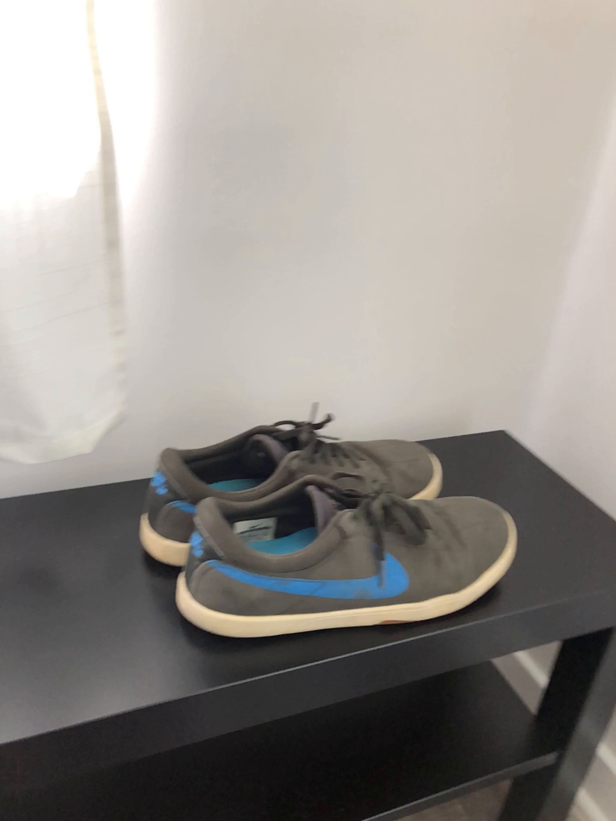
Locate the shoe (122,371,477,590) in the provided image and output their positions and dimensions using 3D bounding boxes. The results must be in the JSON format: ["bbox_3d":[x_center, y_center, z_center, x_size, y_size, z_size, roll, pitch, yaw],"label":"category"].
[{"bbox_3d":[-0.007,0.049,0.588,0.280,0.110,0.100,-7,30,-24],"label":"shoe"}]

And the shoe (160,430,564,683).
[{"bbox_3d":[0.036,0.100,0.520,0.280,0.110,0.100,-5,29,-20],"label":"shoe"}]
